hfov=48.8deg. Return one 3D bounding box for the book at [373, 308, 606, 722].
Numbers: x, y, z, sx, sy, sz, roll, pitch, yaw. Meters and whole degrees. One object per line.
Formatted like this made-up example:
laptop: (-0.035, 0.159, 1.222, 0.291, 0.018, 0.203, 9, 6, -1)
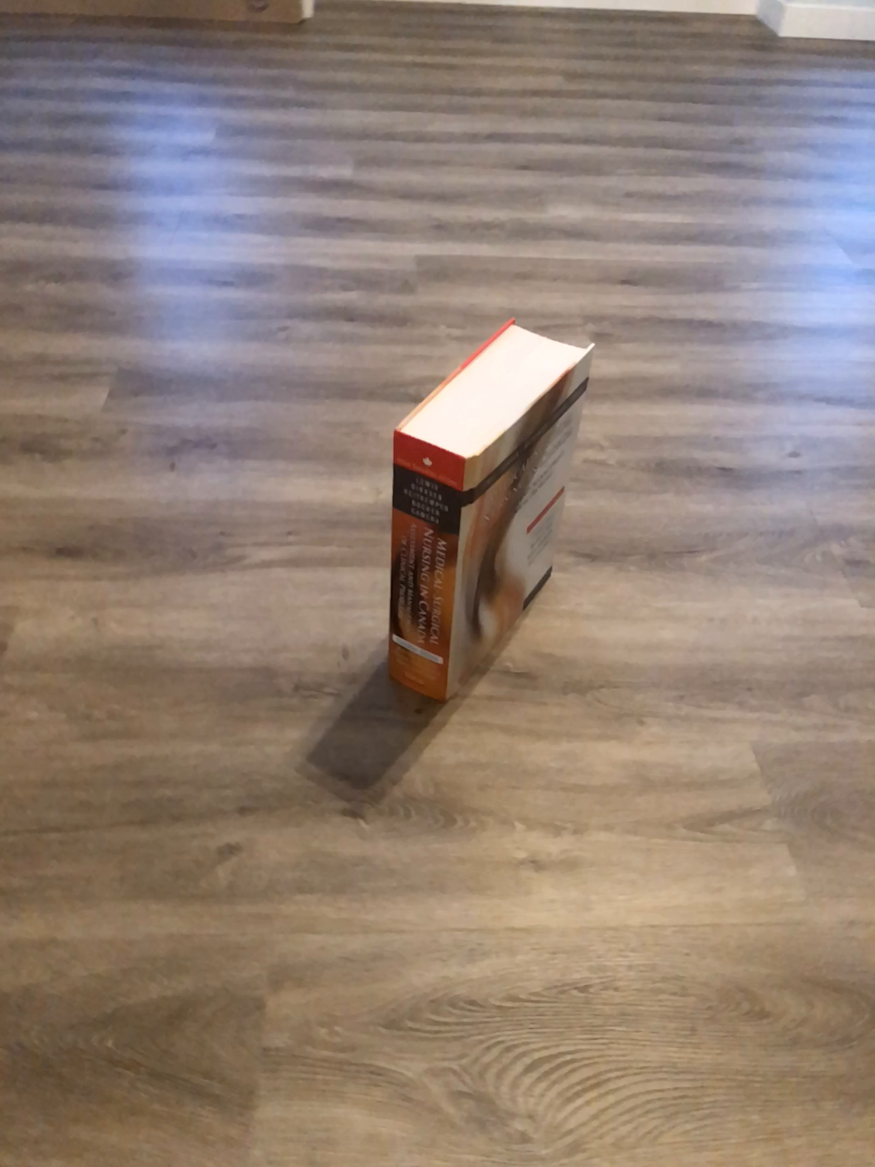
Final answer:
book: (0.045, -0.063, 0.890, 0.087, 0.290, 0.241, 23, 45, 20)
